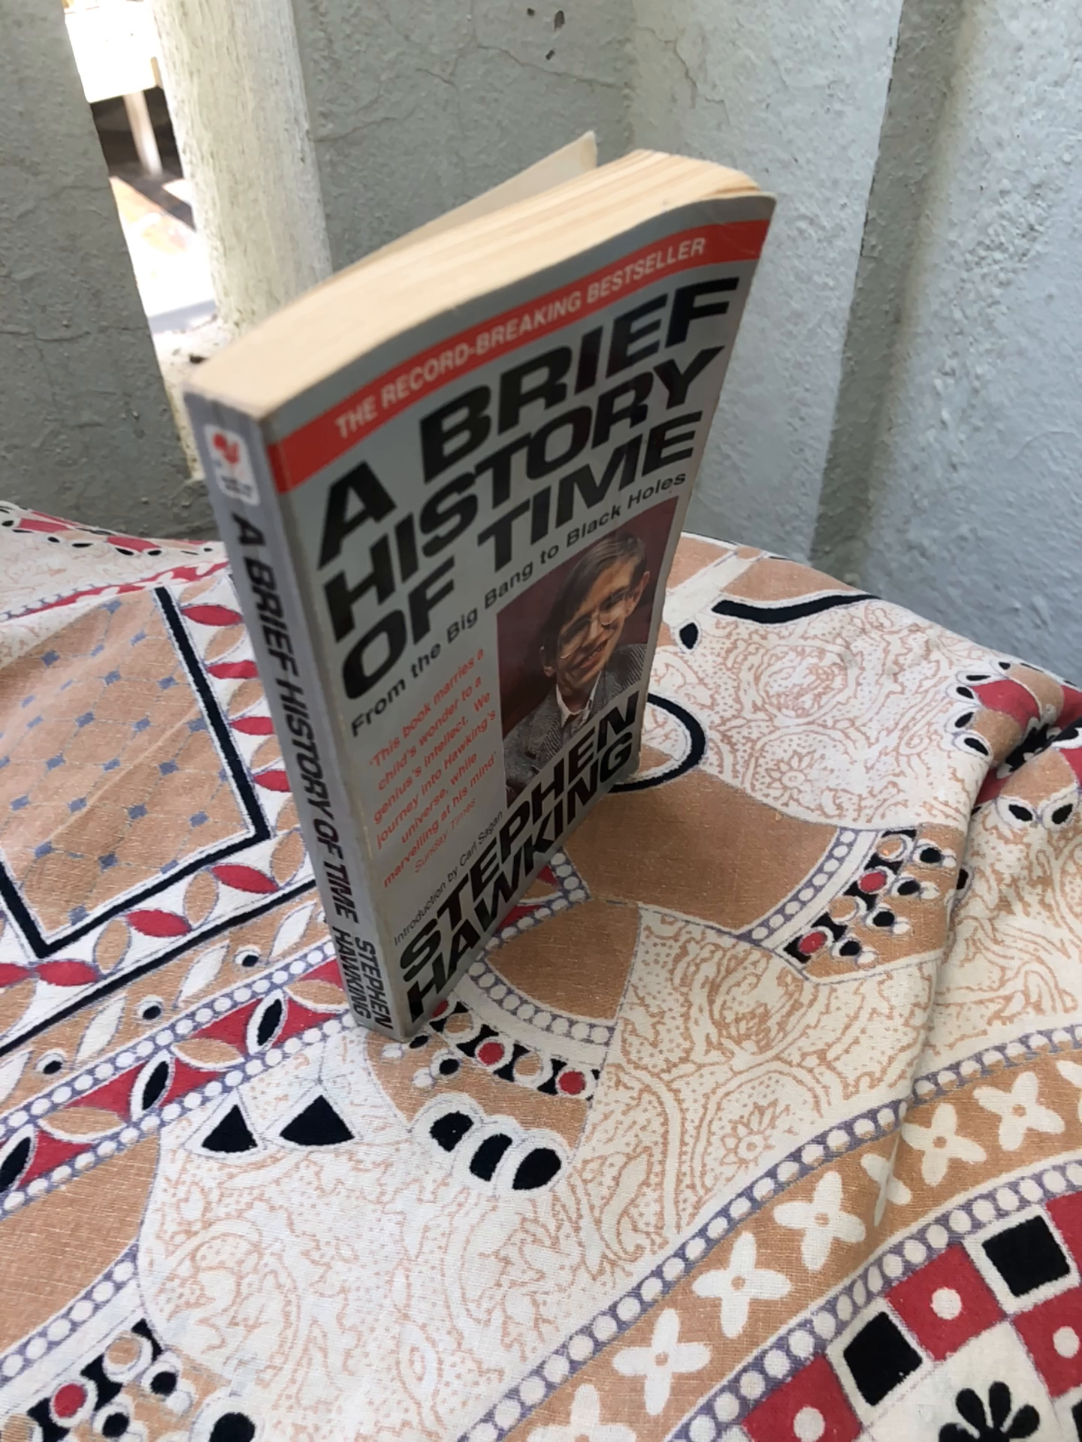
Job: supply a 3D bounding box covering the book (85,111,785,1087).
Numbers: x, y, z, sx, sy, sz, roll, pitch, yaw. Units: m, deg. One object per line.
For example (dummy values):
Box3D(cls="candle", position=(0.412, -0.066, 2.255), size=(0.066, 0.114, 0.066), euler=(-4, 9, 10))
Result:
Box3D(cls="book", position=(-0.009, -0.017, 0.255), size=(0.030, 0.169, 0.130), euler=(32, 55, 26))
